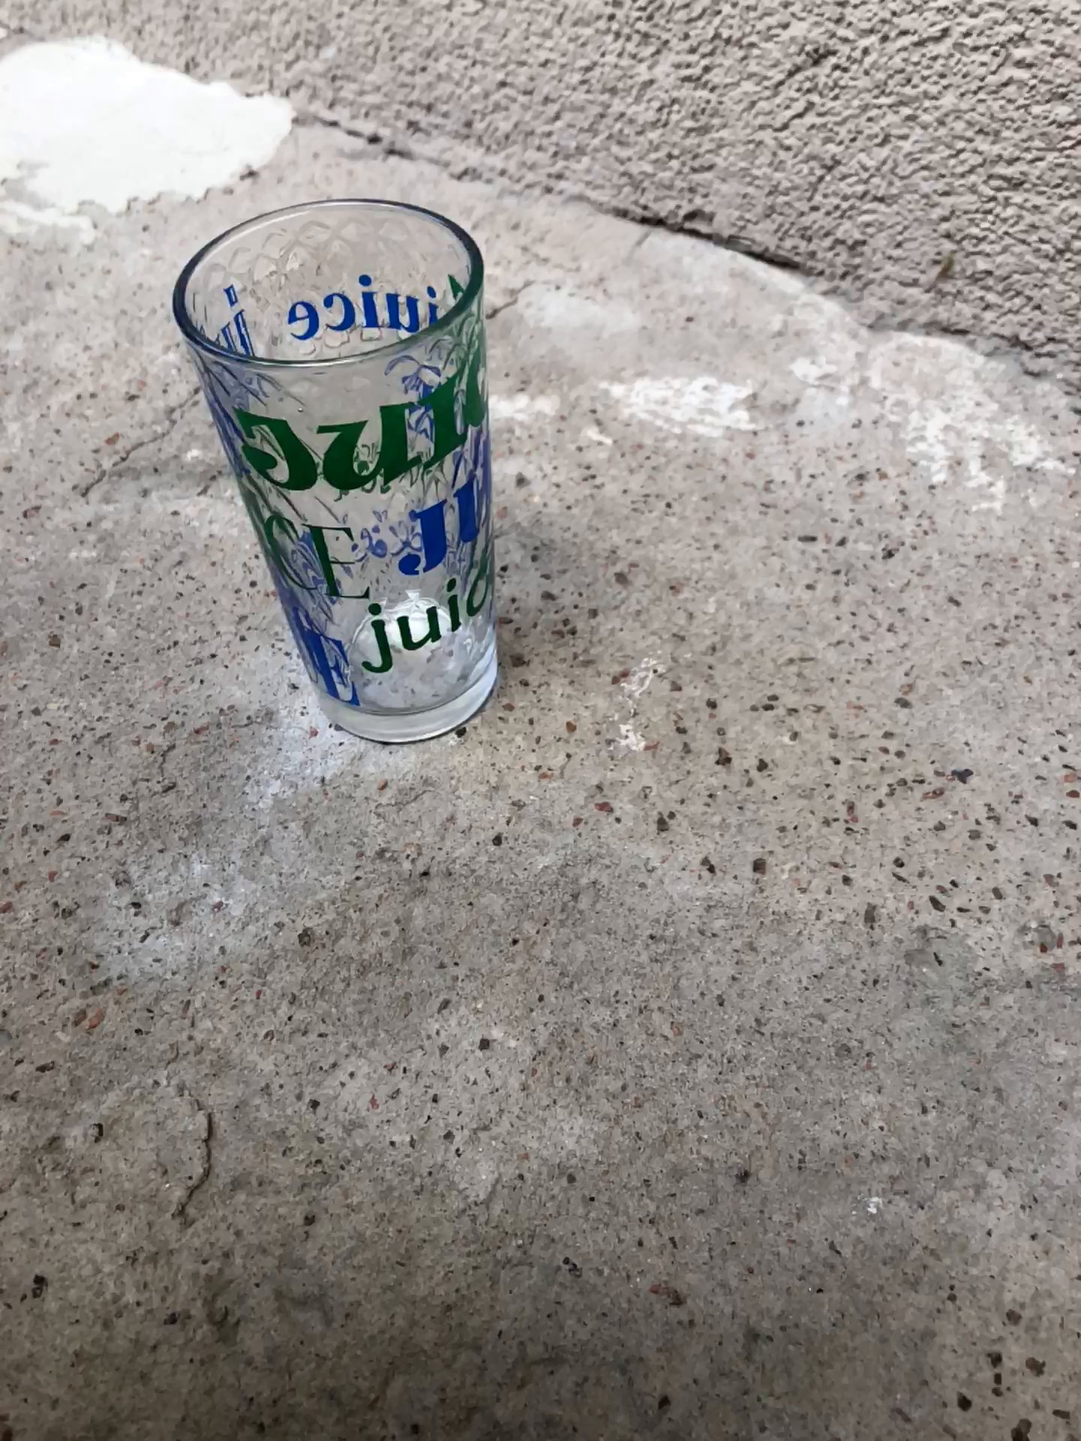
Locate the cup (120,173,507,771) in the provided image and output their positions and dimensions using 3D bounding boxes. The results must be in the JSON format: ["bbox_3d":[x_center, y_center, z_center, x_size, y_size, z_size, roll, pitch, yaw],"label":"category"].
[{"bbox_3d":[-0.045,-0.053,0.290,0.067,0.125,0.066,0,51,1],"label":"cup"}]
